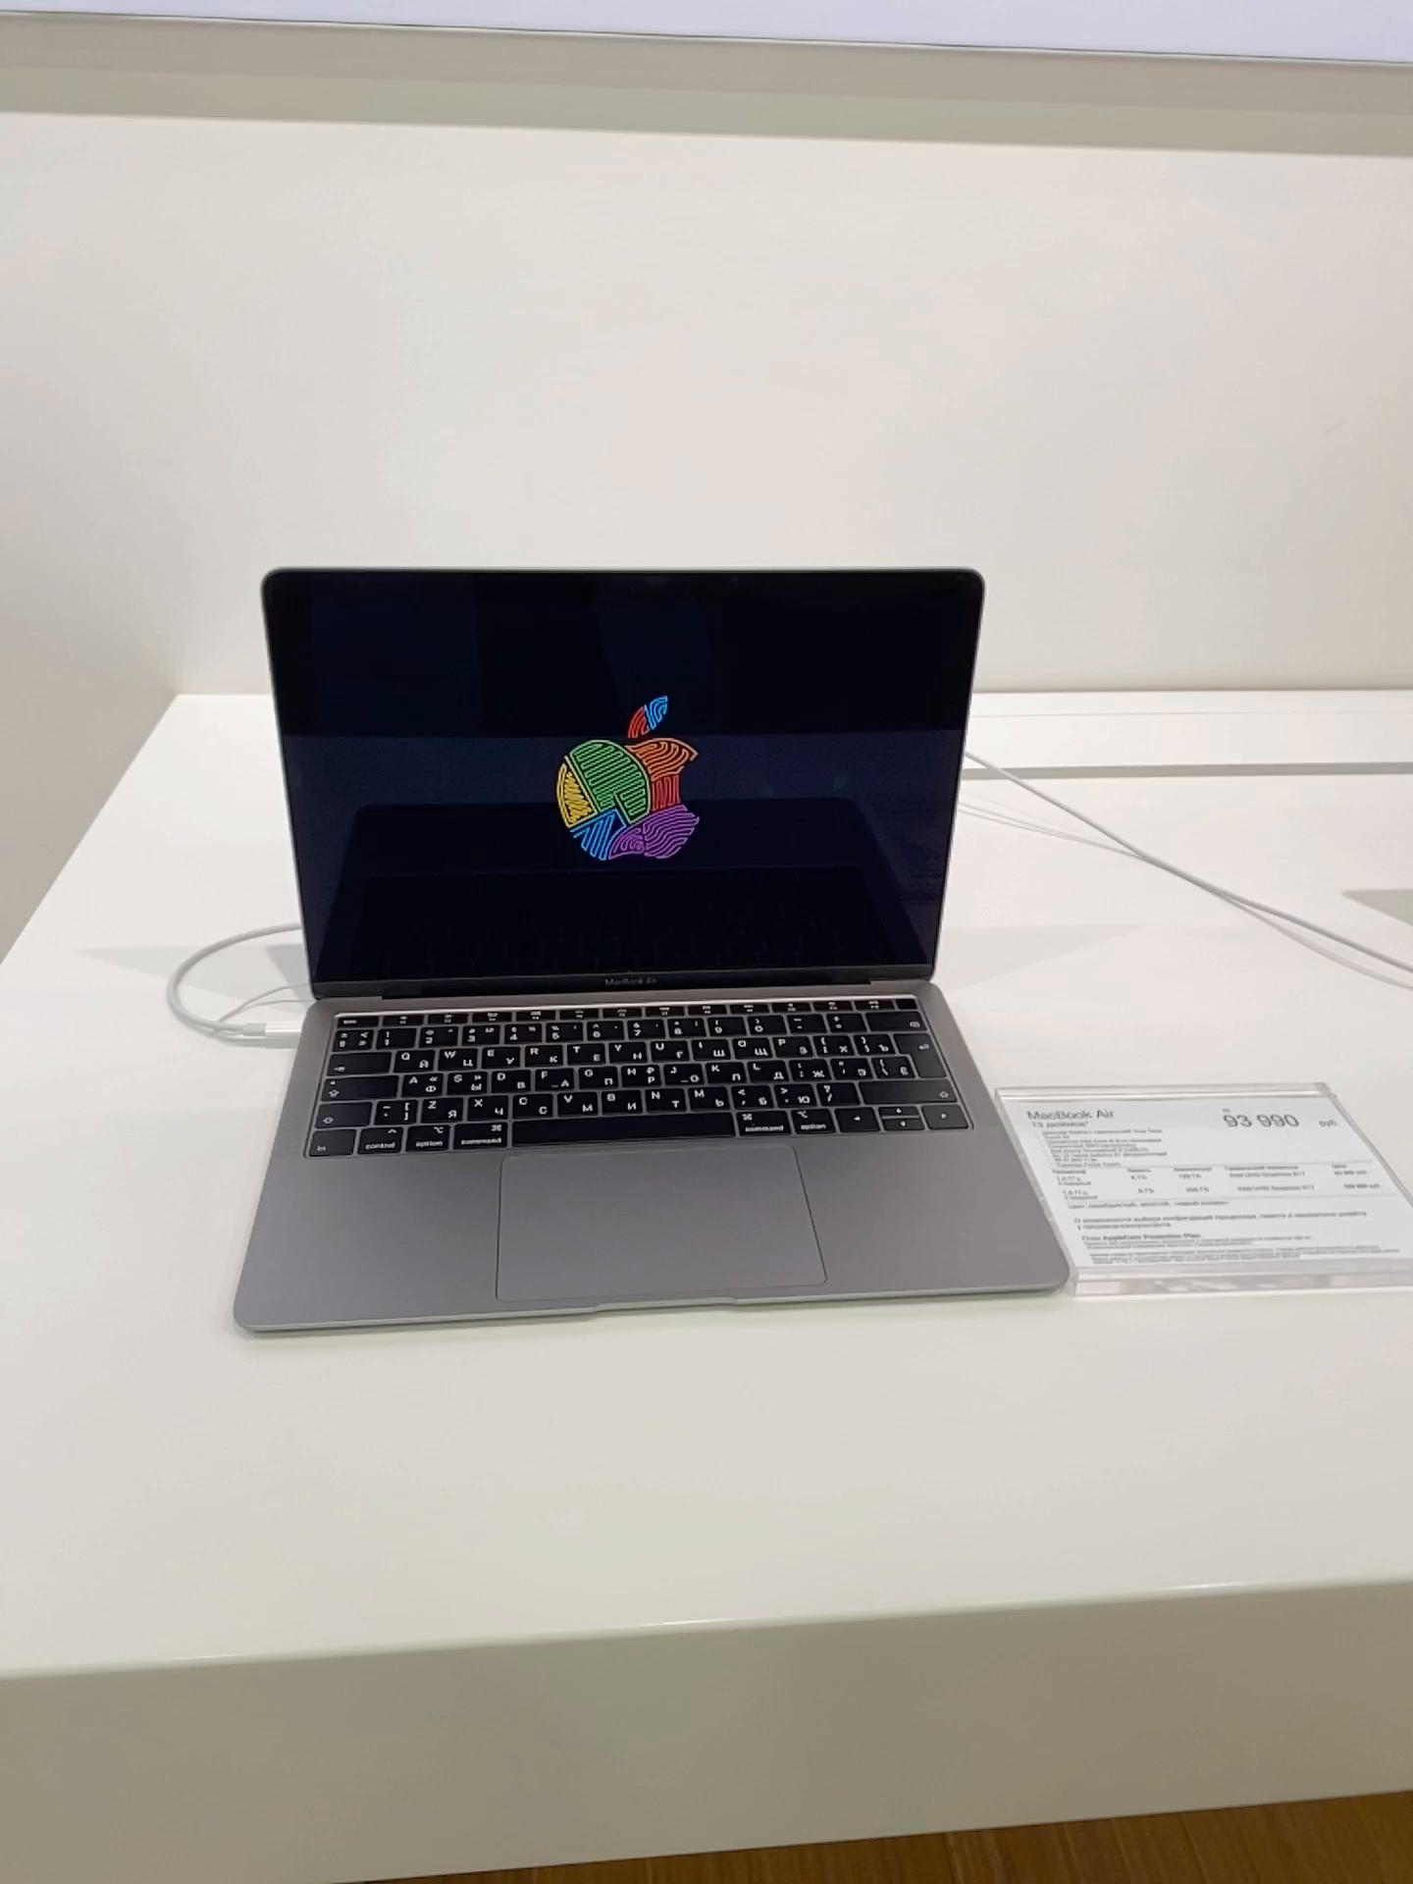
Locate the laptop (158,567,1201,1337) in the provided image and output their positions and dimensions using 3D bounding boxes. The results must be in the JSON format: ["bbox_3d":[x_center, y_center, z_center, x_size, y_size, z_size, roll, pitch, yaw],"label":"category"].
[{"bbox_3d":[-0.017,-0.013,0.563,0.301,0.211,0.226,-1,28,-6],"label":"laptop"}]
